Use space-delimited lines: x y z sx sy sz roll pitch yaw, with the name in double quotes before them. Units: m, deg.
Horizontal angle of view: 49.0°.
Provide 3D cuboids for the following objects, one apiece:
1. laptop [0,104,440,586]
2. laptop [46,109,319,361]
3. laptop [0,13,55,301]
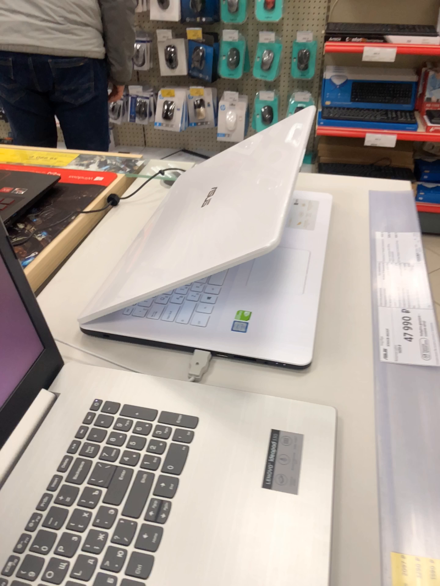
"laptop" -0.111 0.105 0.222 0.336 0.262 0.394 5 37 8
"laptop" -0.007 -0.113 0.642 0.256 0.142 0.393 6 36 9
"laptop" -0.542 -0.212 0.652 0.377 0.220 0.367 13 39 13
